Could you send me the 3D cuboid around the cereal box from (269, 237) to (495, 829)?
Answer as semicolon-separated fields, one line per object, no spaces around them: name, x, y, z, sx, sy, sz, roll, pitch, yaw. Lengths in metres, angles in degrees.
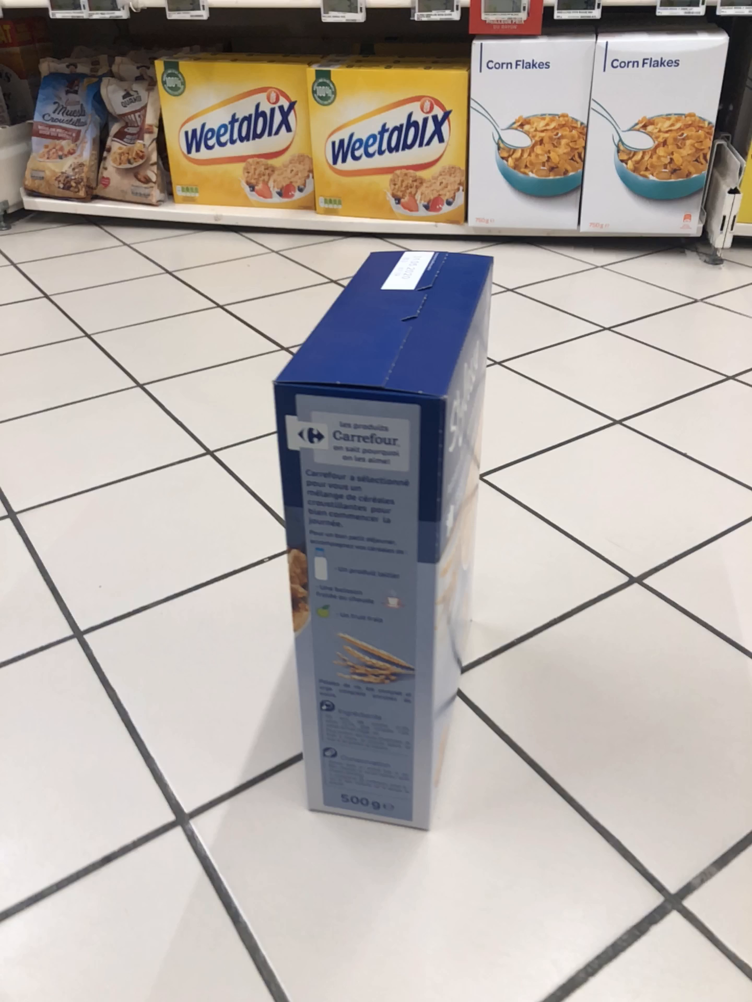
cereal box;0.013;0.013;0.497;0.080;0.278;0.211;6;33;8
